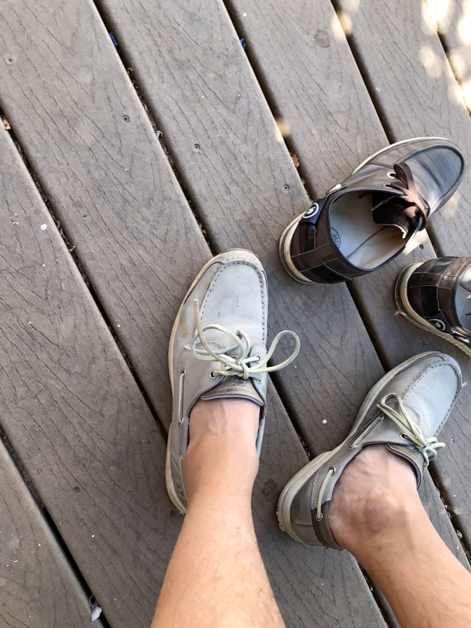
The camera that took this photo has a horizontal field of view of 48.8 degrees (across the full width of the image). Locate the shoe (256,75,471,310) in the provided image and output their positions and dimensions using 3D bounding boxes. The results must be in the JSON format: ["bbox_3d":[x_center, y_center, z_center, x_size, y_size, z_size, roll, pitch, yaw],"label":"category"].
[{"bbox_3d":[0.190,-0.138,0.608,0.303,0.111,0.110,-36,100,-16],"label":"shoe"}]

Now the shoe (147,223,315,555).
[{"bbox_3d":[-0.009,0.074,0.543,0.110,0.111,0.303,8,86,-18],"label":"shoe"}]

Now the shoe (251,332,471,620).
[{"bbox_3d":[0.176,0.166,0.602,0.303,0.111,0.110,-44,102,-14],"label":"shoe"}]

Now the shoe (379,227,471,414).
[{"bbox_3d":[0.353,0.015,0.657,0.304,0.111,0.110,24,82,-17],"label":"shoe"}]
